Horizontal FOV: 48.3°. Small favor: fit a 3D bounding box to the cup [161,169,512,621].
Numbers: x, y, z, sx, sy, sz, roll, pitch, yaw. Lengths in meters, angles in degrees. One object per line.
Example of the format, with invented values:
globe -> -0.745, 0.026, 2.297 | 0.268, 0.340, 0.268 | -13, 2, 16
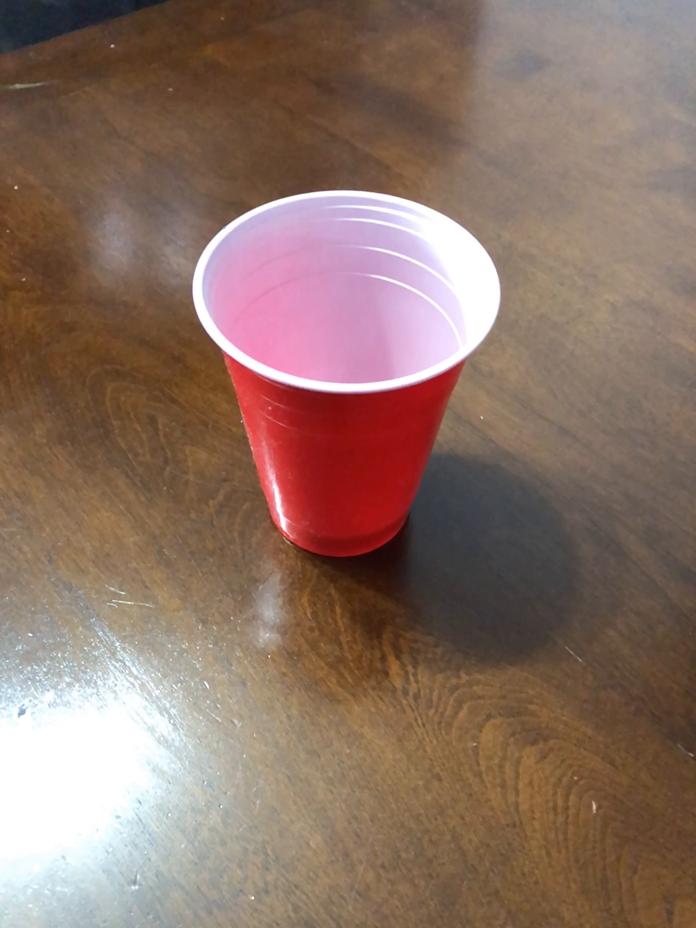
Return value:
cup -> 0.001, -0.020, 0.274 | 0.090, 0.120, 0.090 | 1, 50, -1
